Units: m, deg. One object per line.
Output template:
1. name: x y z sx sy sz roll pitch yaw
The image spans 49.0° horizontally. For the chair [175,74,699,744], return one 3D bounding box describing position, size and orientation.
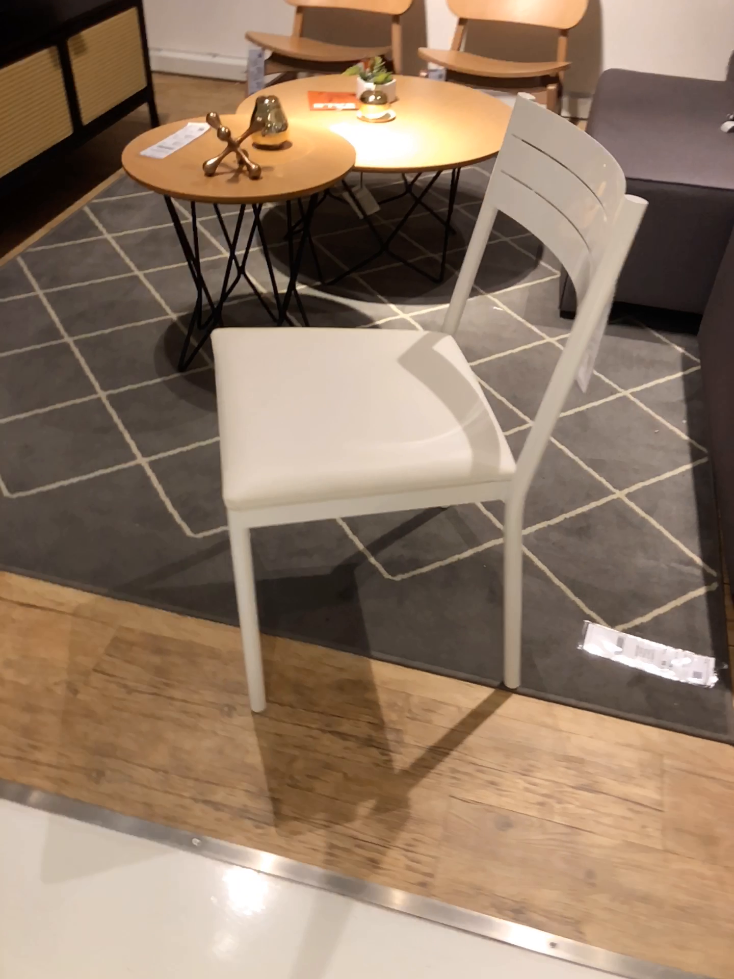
1. chair: 0.022 -0.093 1.121 0.470 0.774 0.454 -5 41 -9
